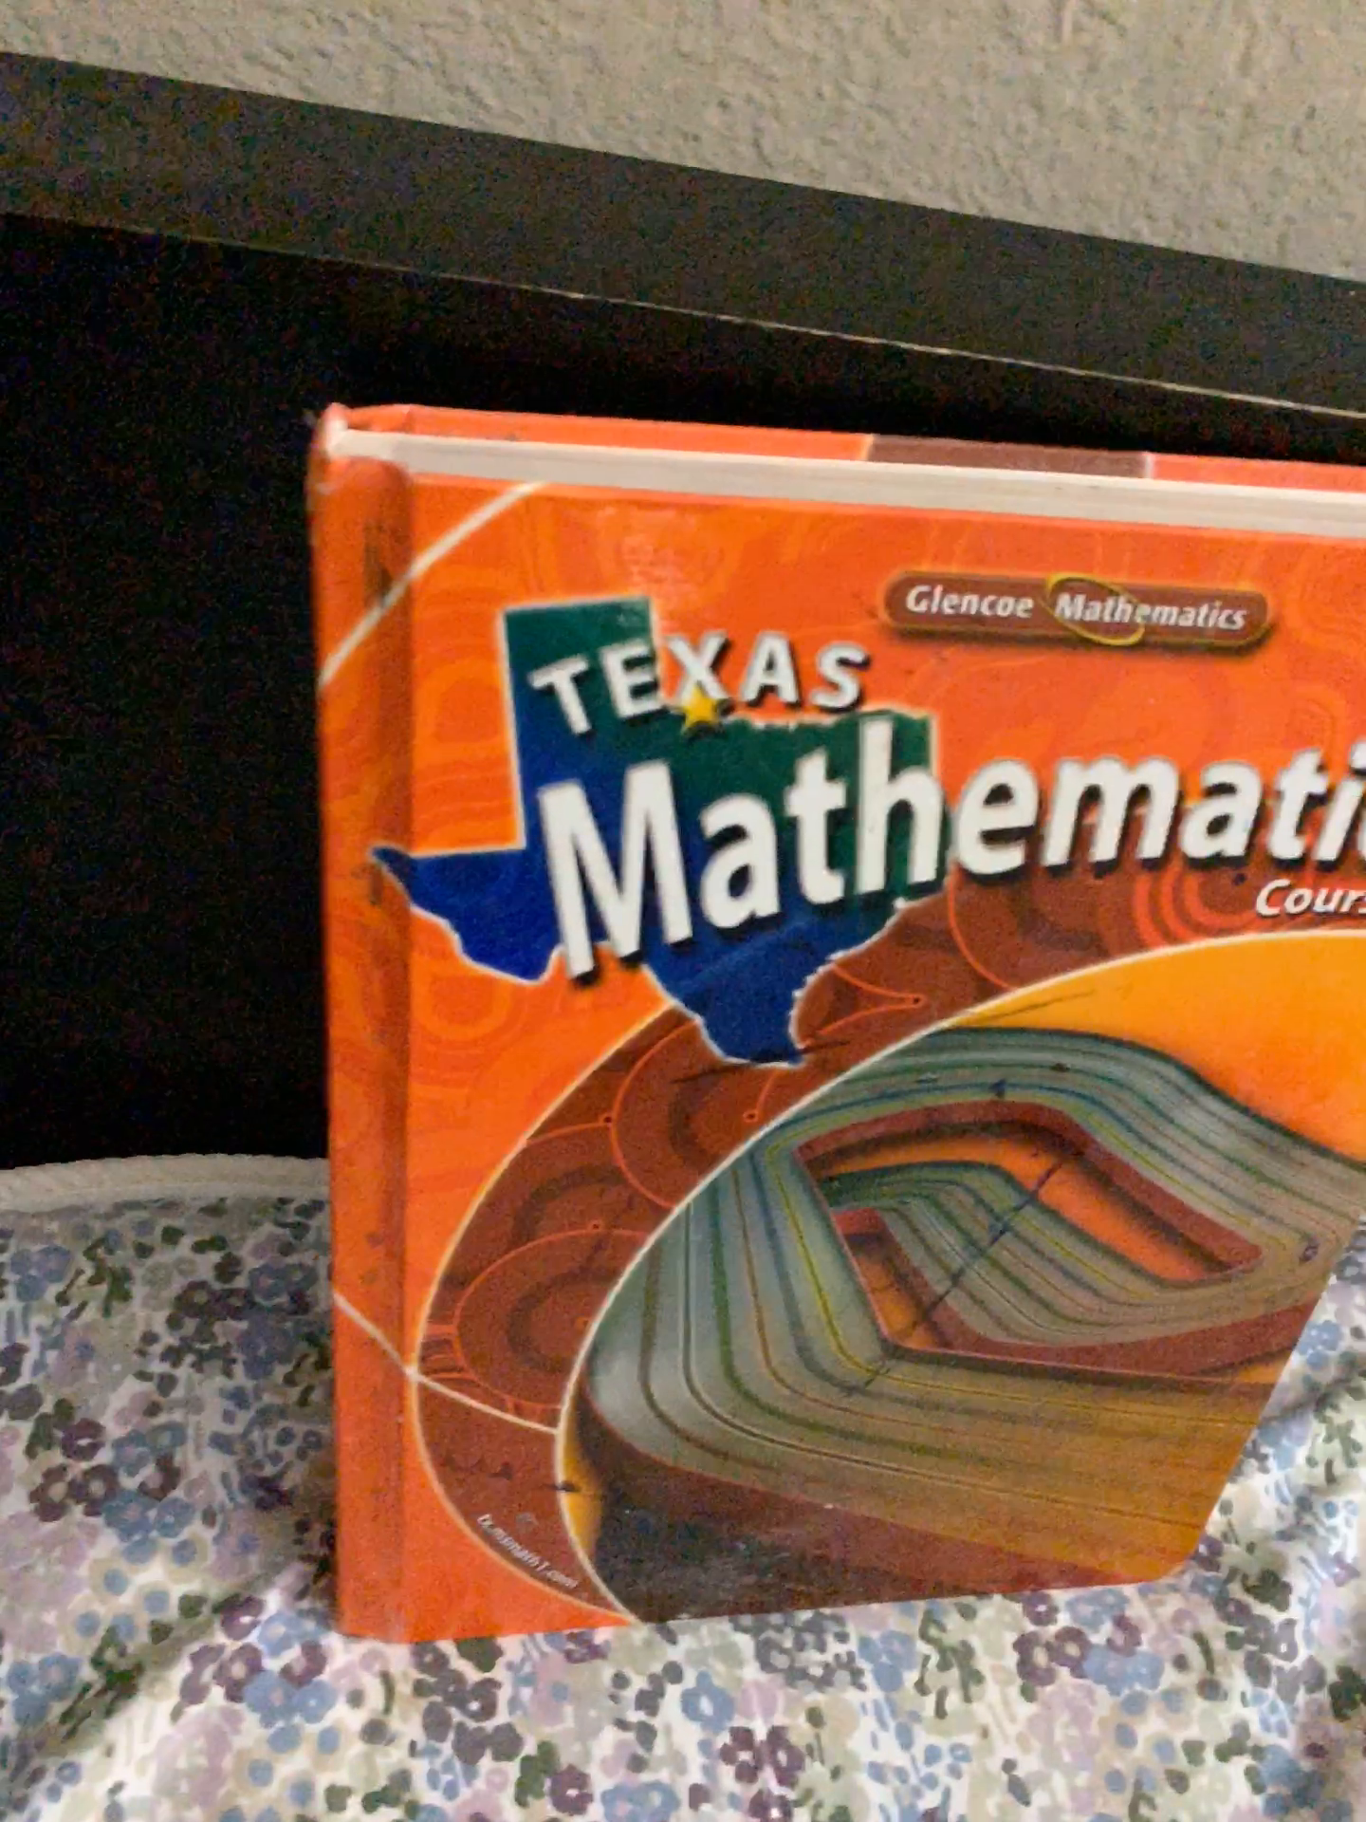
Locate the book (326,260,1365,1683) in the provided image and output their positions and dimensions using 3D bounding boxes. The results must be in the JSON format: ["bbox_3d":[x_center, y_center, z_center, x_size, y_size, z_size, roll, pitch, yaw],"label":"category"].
[{"bbox_3d":[0.047,0.045,0.288,0.230,0.299,0.050,0,37,-14],"label":"book"}]
